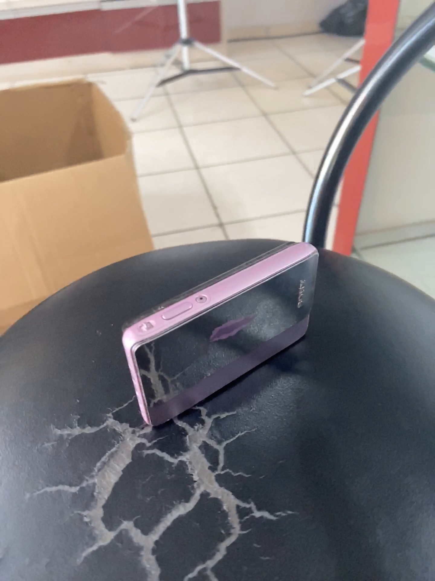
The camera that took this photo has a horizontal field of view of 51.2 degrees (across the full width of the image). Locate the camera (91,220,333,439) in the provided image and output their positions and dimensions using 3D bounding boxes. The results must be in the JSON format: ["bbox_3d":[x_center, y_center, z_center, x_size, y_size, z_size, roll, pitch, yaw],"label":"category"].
[{"bbox_3d":[0.002,0.014,0.202,0.100,0.050,0.030,-28,48,-24],"label":"camera"}]
